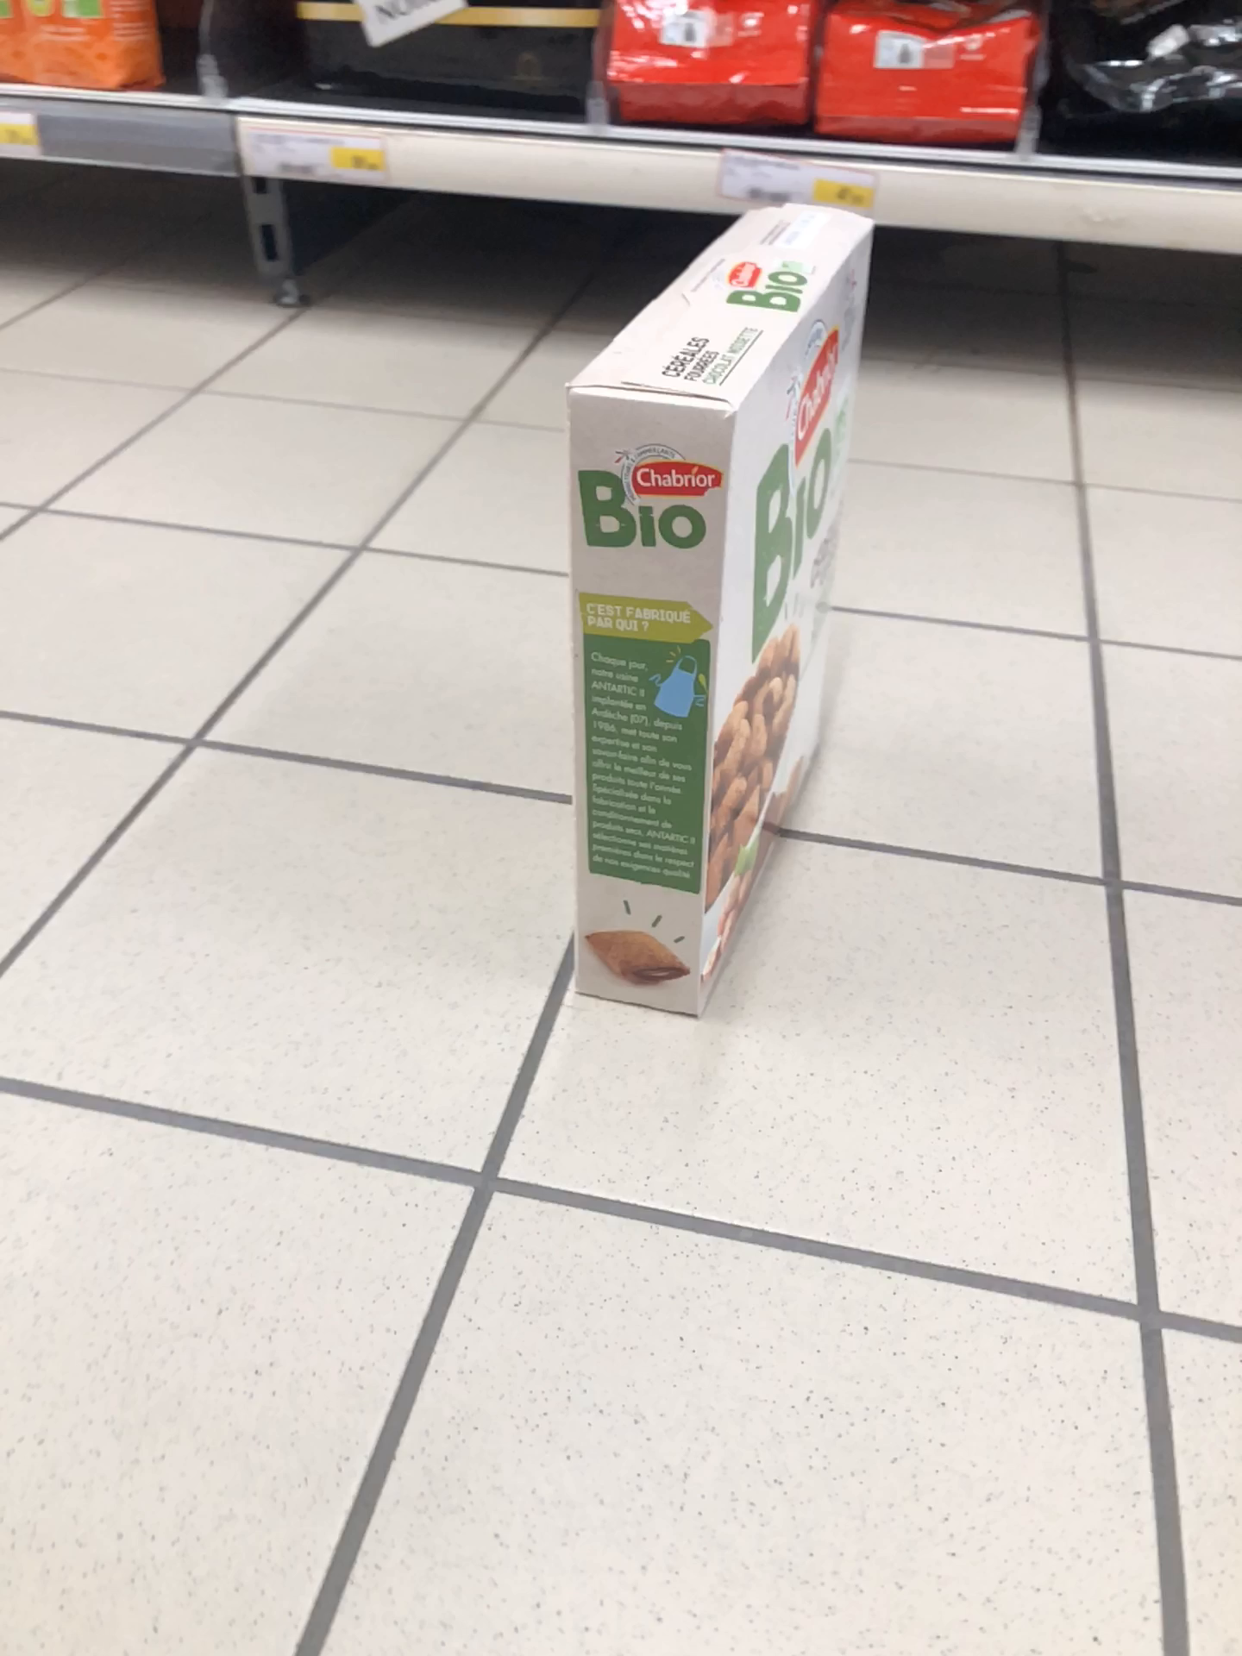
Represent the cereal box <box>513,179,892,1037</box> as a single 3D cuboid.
[{"bbox_3d":[0.035,-0.086,0.506,0.060,0.239,0.211,13,39,16],"label":"cereal box"}]
